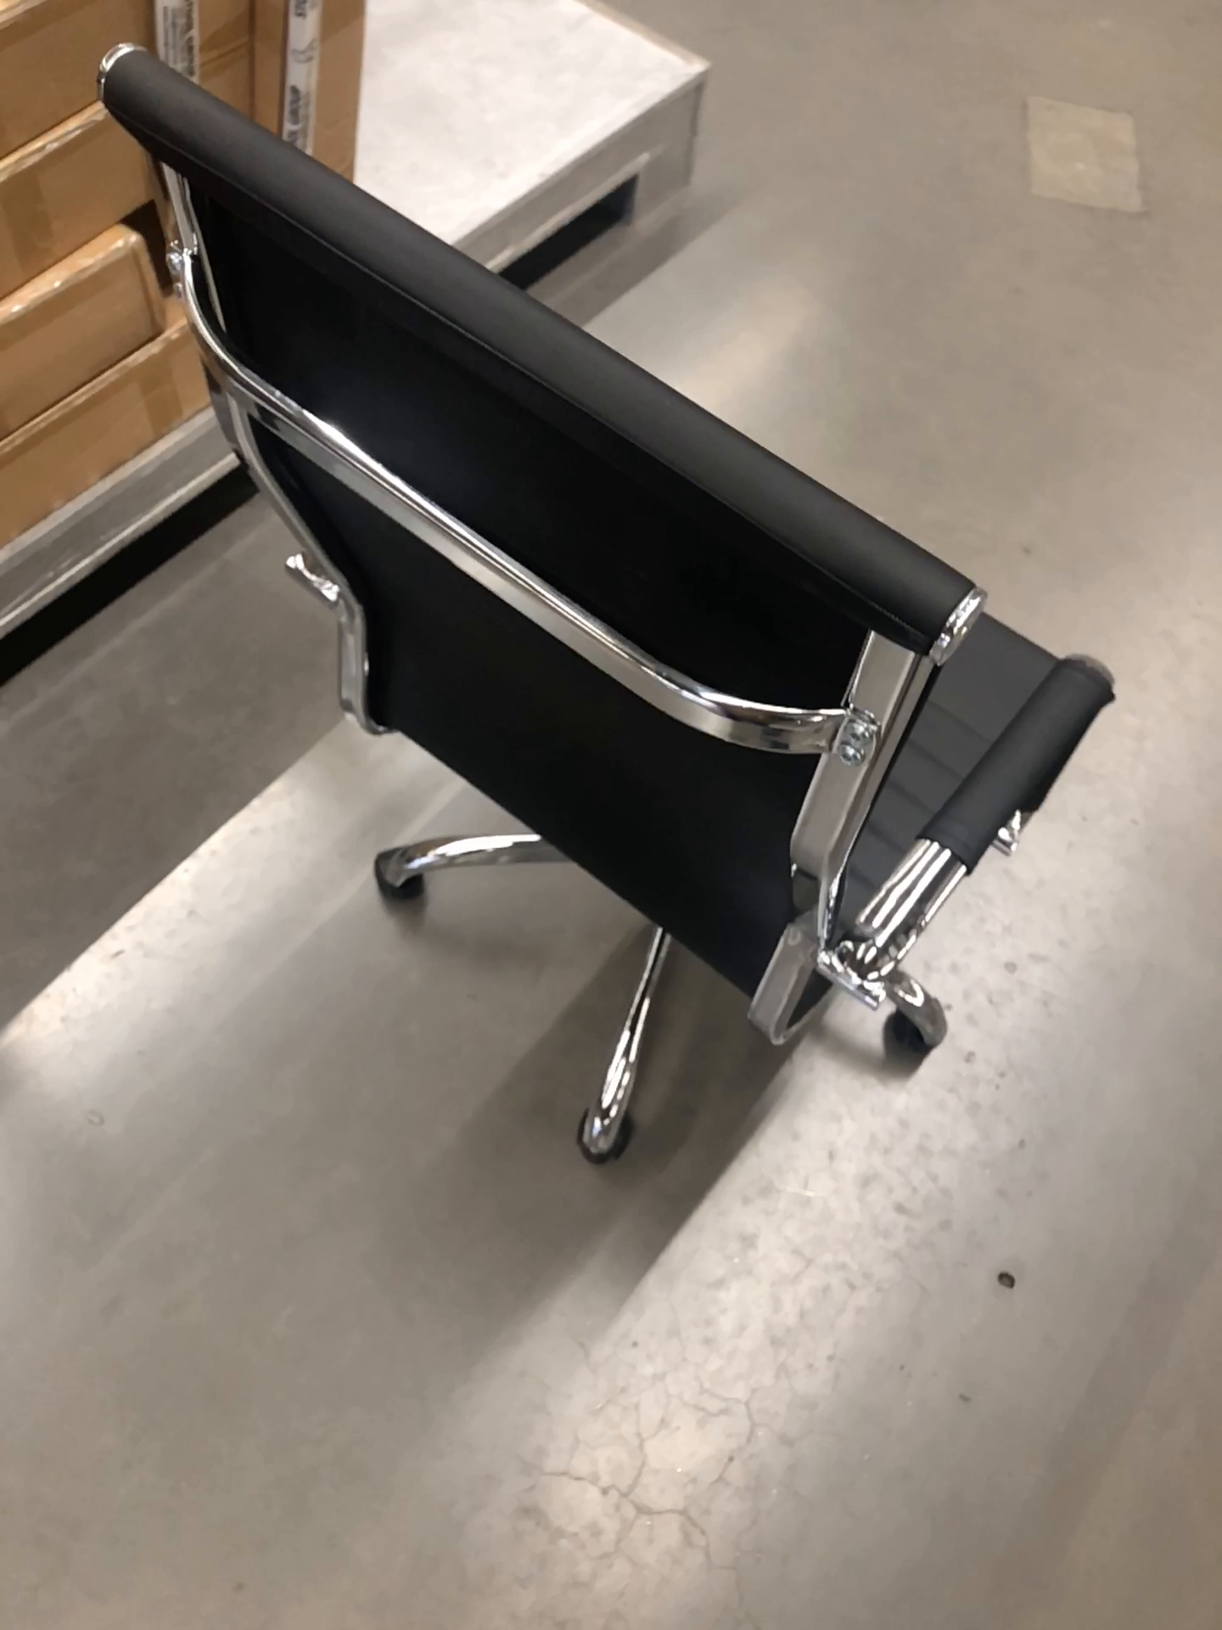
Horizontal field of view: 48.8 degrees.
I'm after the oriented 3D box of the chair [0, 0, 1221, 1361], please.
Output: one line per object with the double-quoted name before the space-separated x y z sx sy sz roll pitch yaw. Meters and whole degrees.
"chair" 0.104 -0.166 1.148 0.671 1.095 0.743 36 63 17
